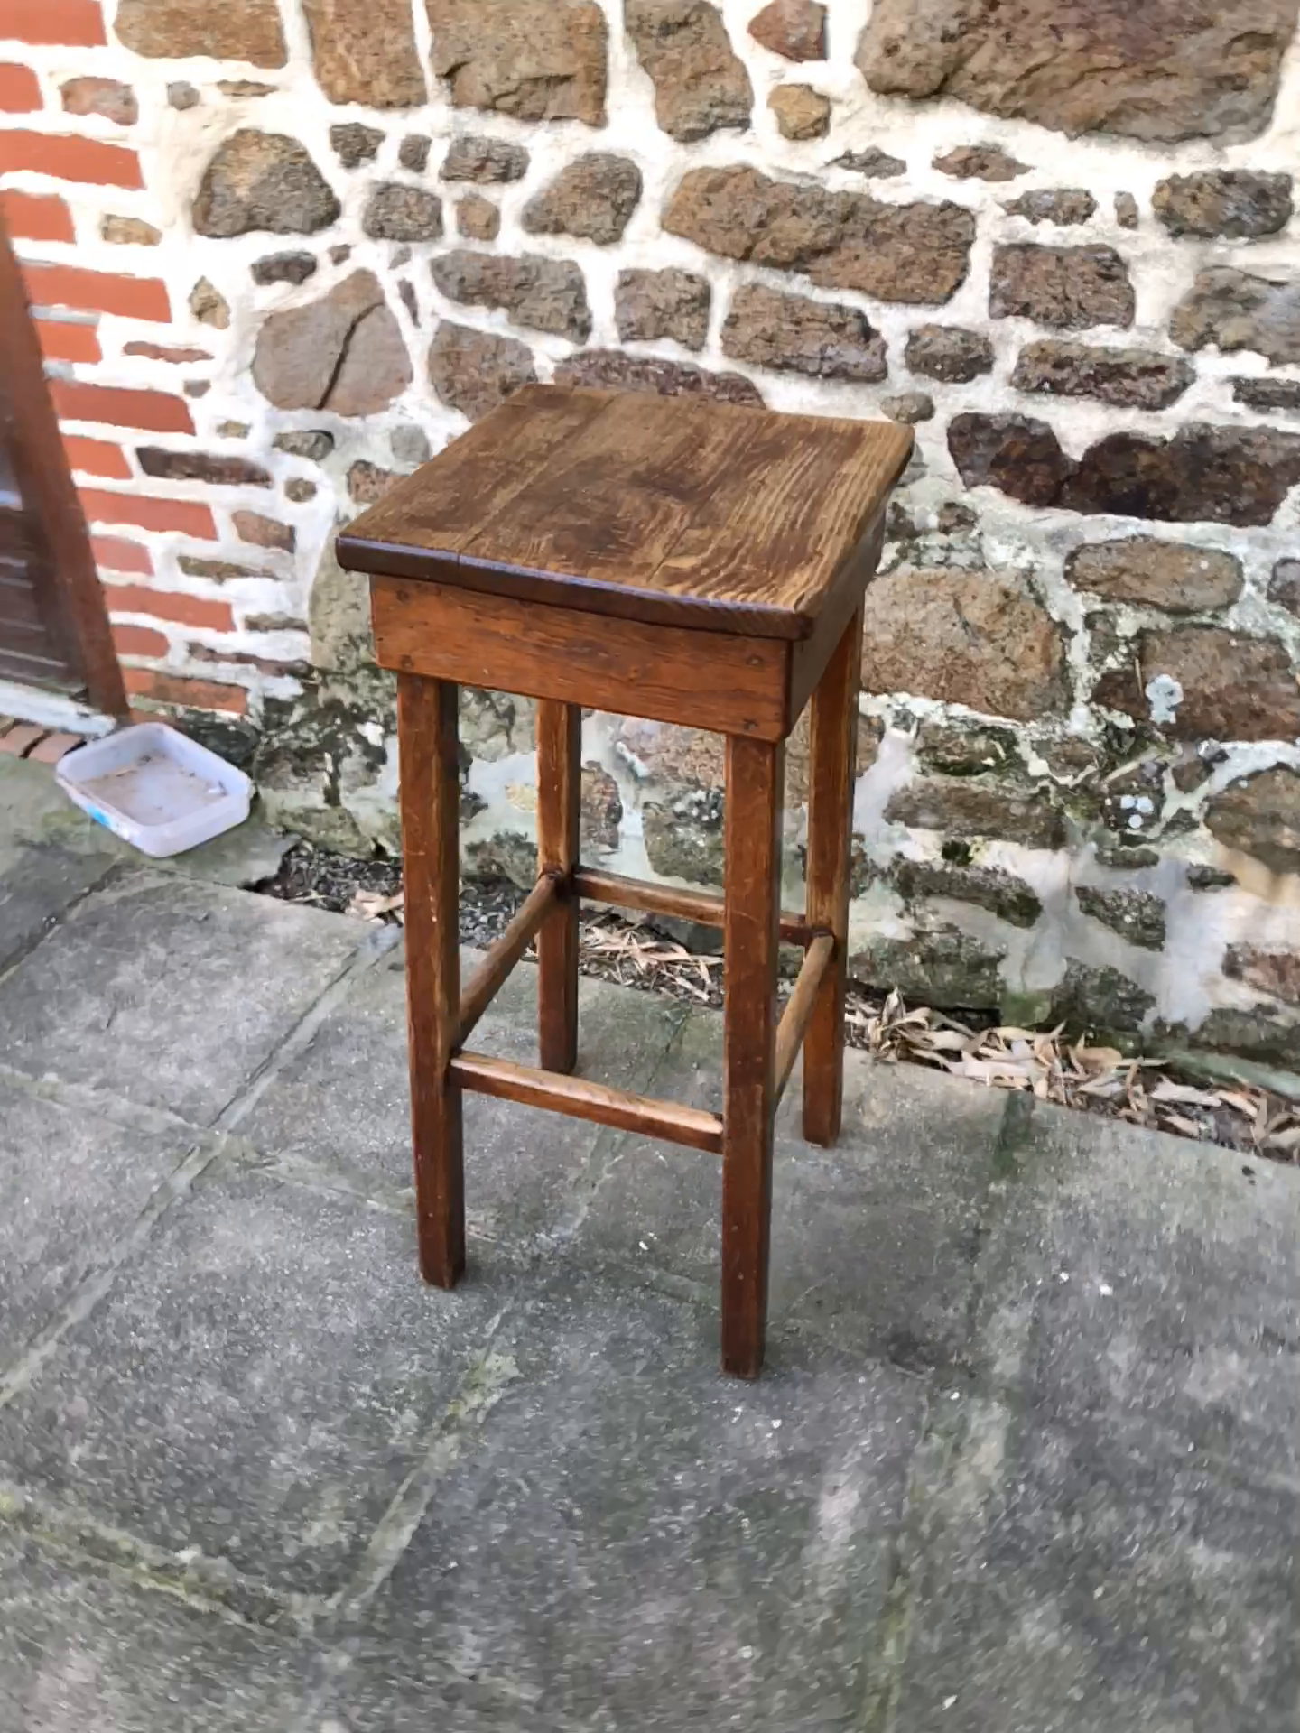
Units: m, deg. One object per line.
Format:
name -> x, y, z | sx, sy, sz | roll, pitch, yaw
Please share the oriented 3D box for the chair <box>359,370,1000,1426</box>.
chair -> 0.040, 0.050, 1.200 | 0.350, 0.795, 0.332 | 11, 38, 15
